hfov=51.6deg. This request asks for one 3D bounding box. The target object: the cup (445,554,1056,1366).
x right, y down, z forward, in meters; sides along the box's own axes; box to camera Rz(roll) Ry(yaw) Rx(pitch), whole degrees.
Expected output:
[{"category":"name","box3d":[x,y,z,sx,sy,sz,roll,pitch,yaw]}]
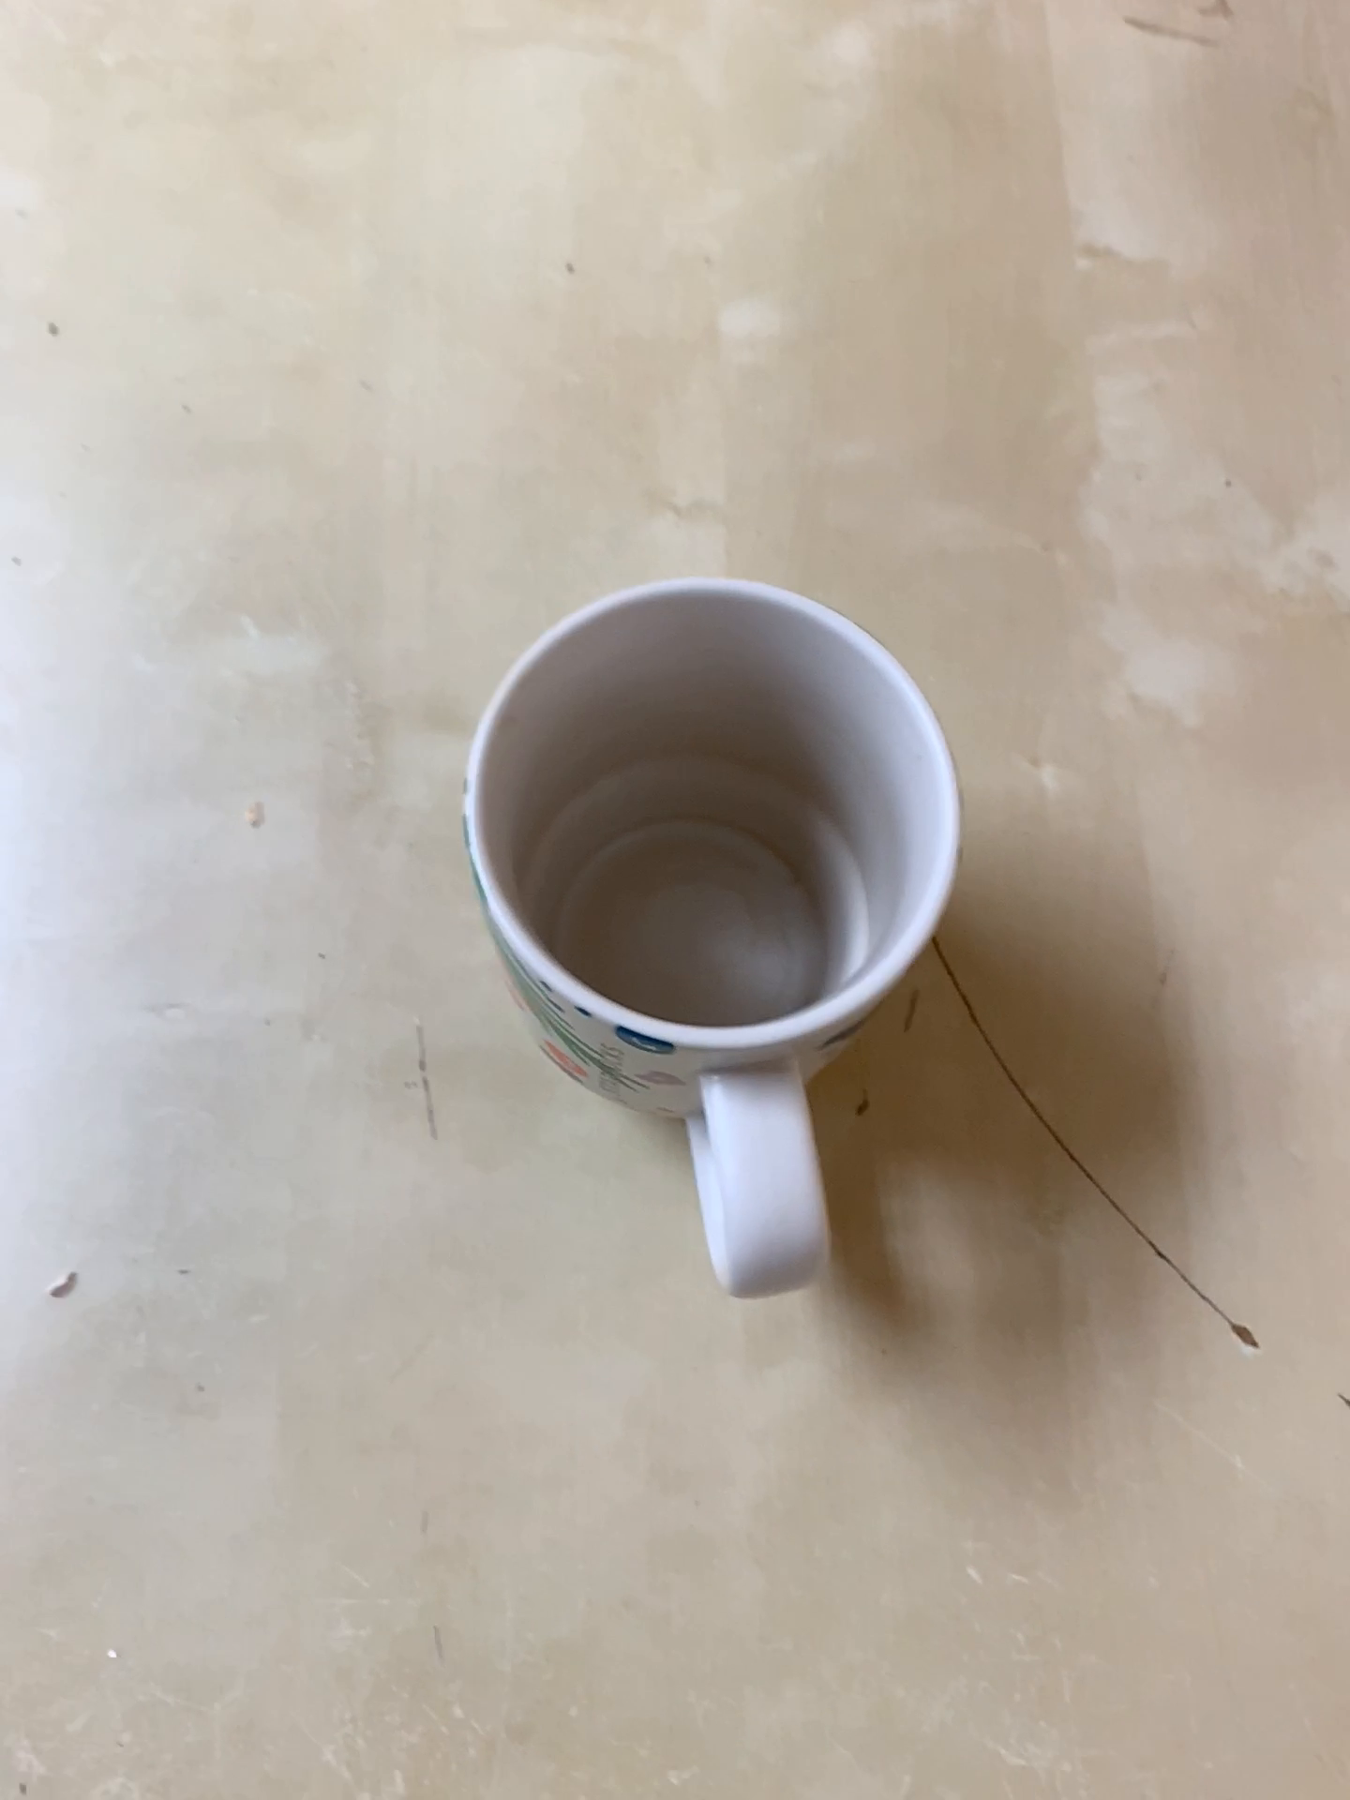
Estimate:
[{"category":"cup","box3d":[0.007,0.017,0.273,0.081,0.095,0.128,-7,73,-5]}]
